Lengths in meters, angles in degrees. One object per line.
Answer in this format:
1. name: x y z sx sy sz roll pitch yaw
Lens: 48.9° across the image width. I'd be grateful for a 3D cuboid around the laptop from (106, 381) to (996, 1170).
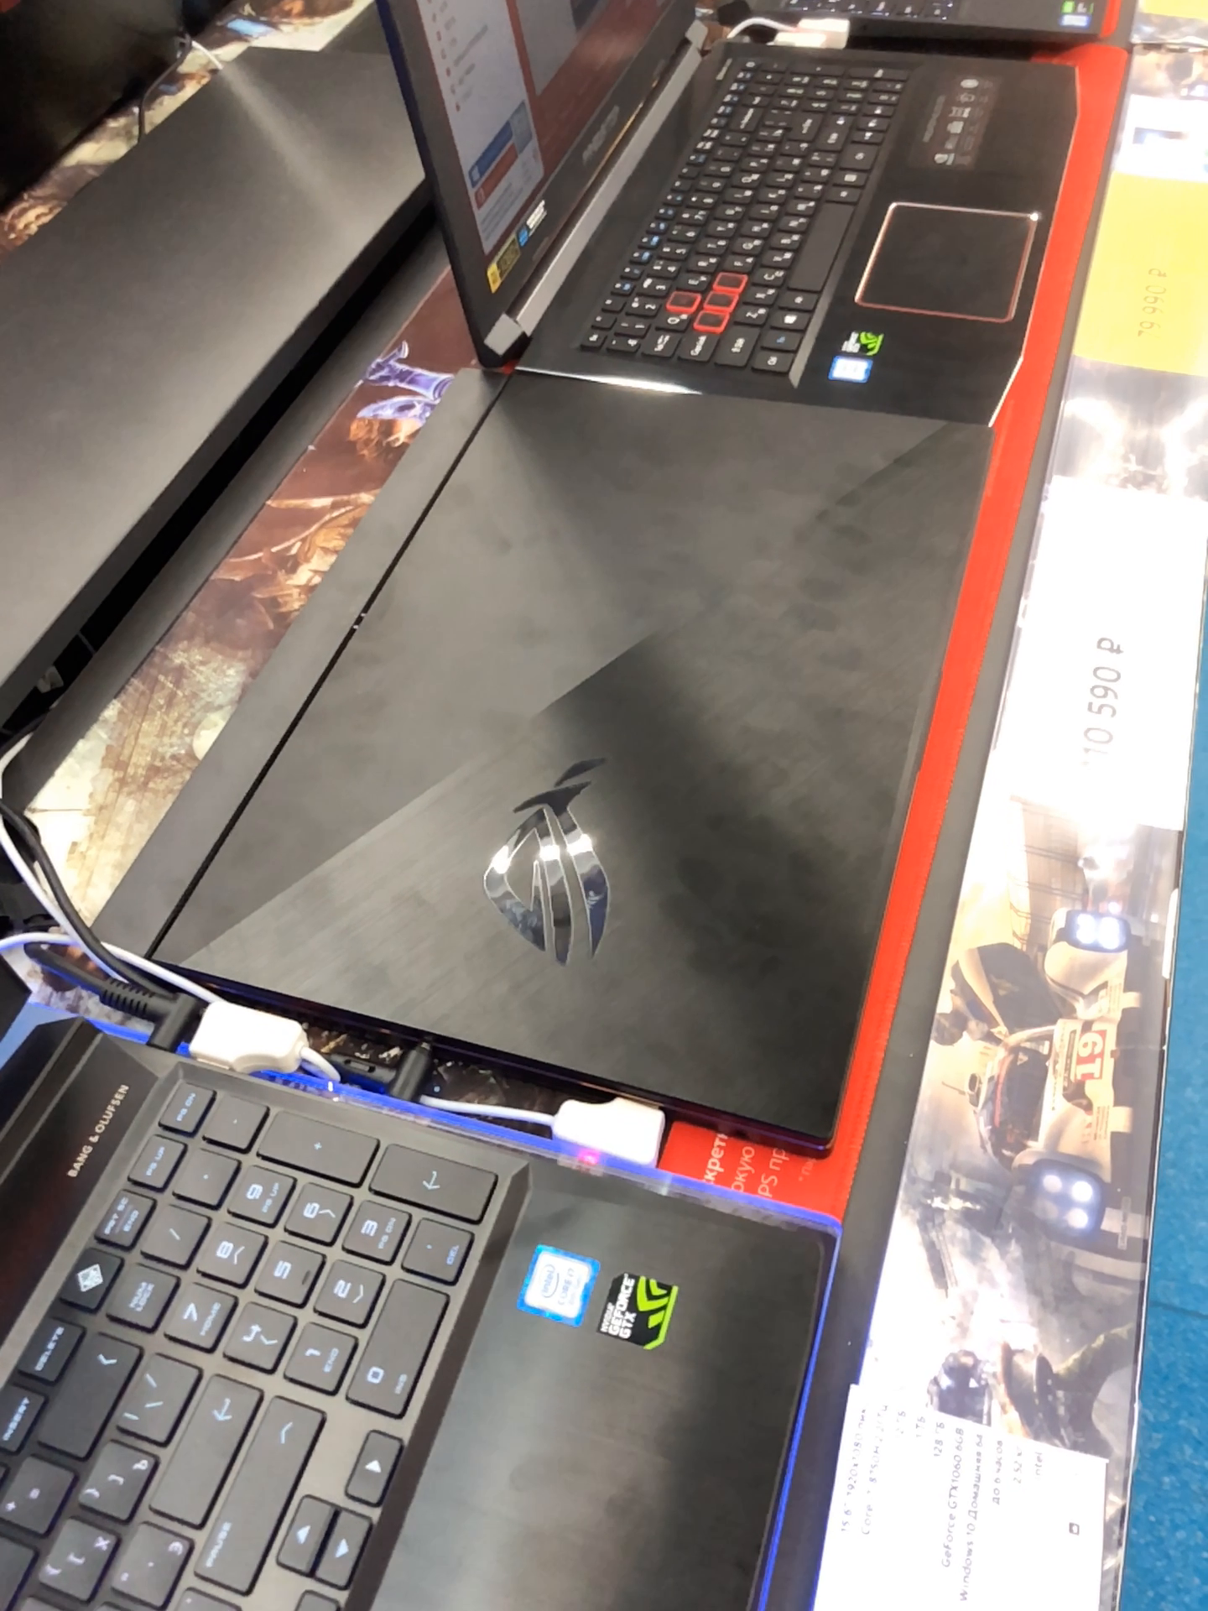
1. laptop: 0.003 -0.051 0.528 0.254 0.006 0.349 12 53 13
